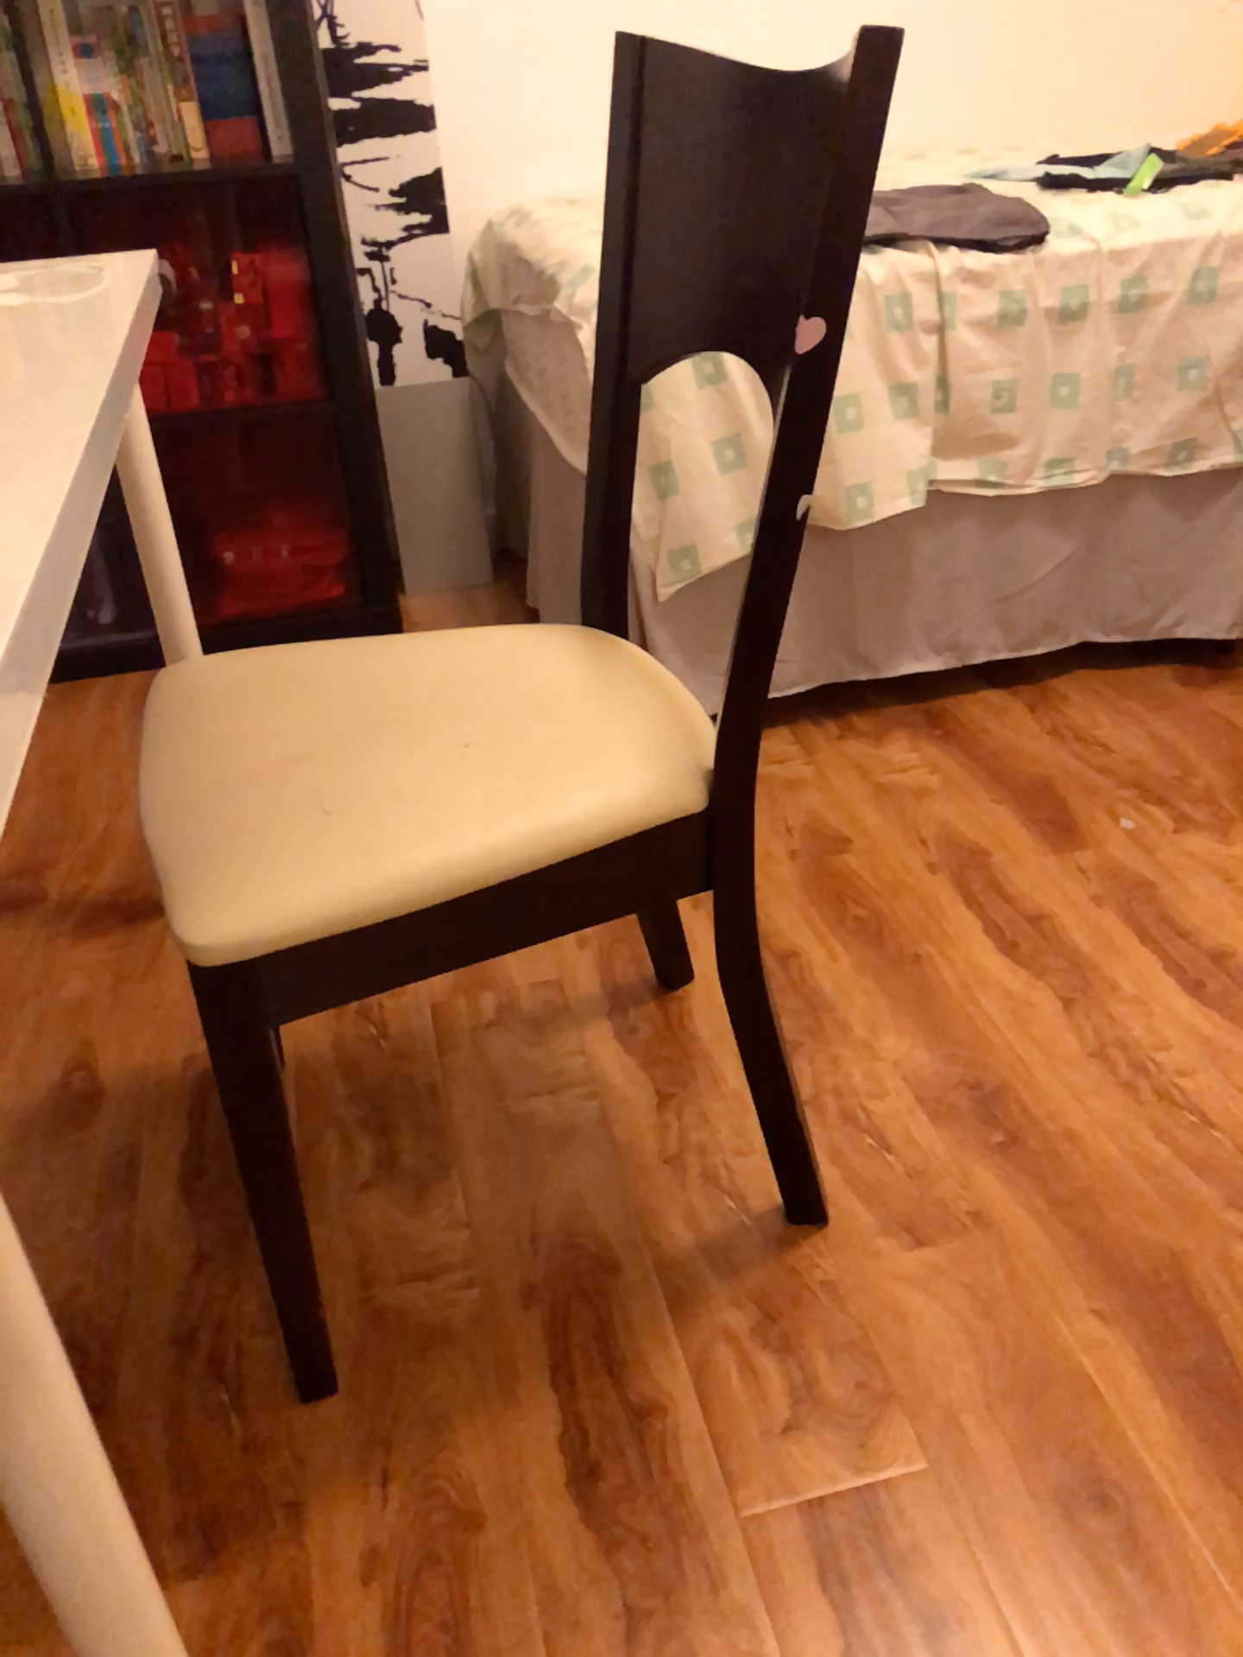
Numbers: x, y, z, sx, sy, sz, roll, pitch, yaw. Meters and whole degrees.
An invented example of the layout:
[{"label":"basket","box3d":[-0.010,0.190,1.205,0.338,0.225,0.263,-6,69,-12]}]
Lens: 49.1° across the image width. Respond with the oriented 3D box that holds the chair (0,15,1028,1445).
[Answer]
[{"label":"chair","box3d":[-0.112,-0.109,1.034,0.510,0.845,0.533,-11,31,-16]}]
